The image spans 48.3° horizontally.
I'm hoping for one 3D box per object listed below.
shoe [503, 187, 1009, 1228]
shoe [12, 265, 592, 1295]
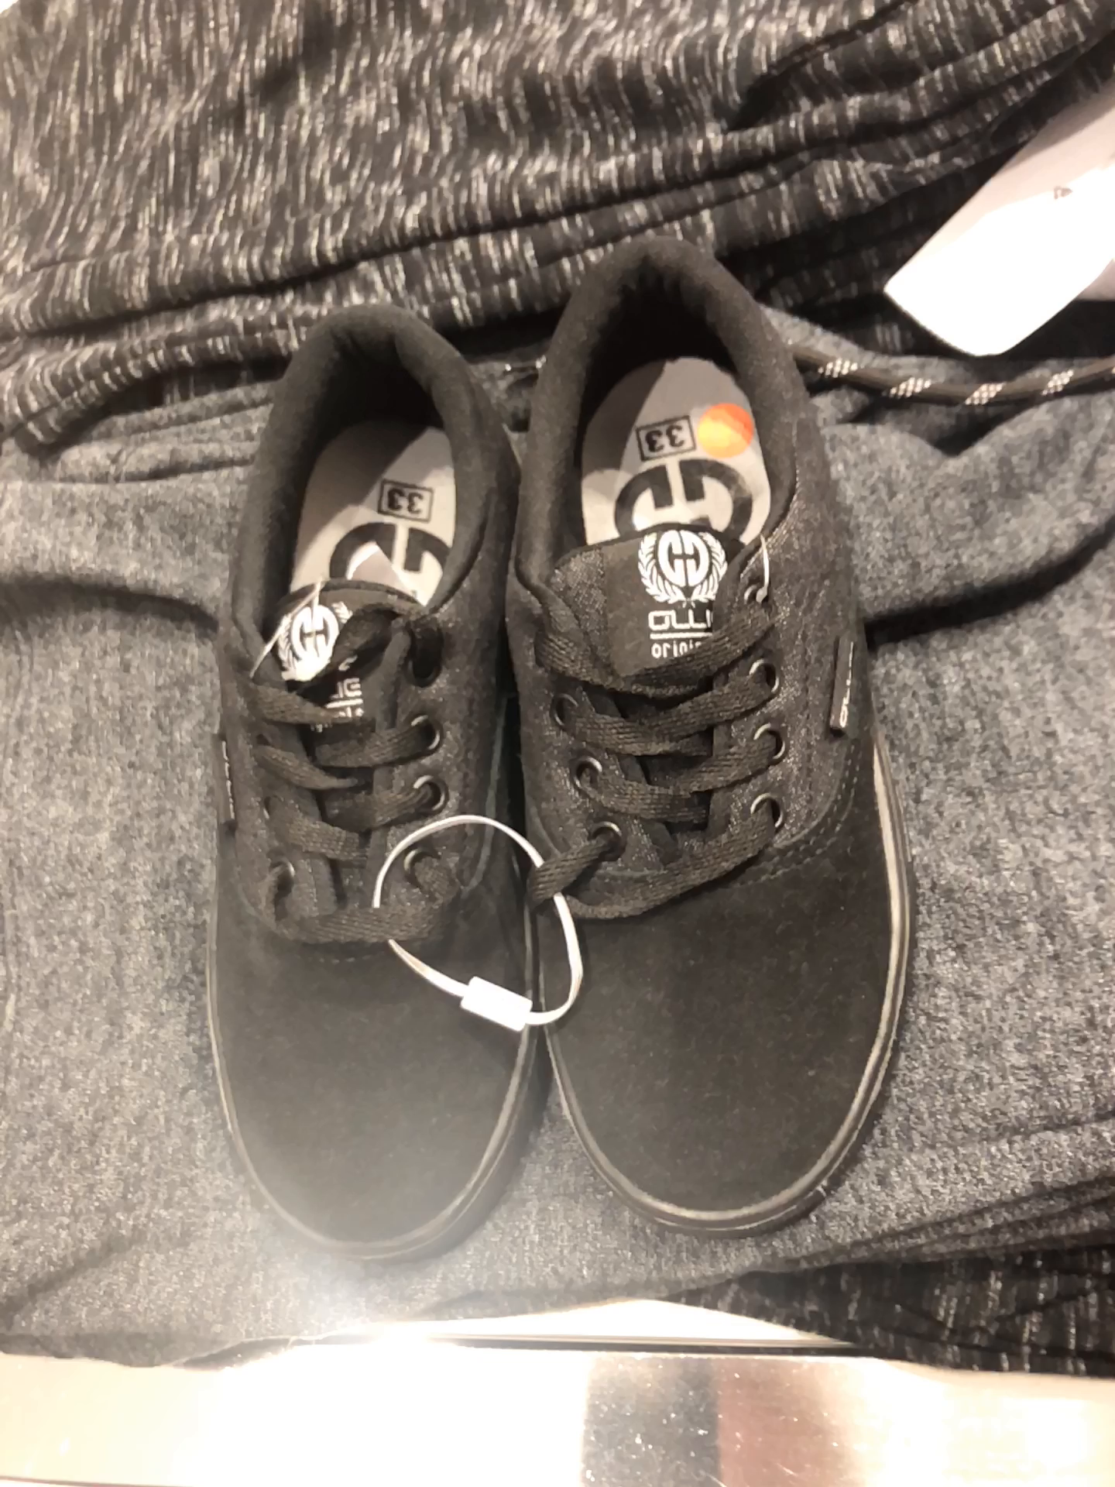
[{"bbox_3d":[0.037,-0.011,0.308,0.090,0.080,0.241,-3,69,5],"label":"shoe"},{"bbox_3d":[-0.044,0.005,0.294,0.090,0.080,0.221,0,69,6],"label":"shoe"}]
